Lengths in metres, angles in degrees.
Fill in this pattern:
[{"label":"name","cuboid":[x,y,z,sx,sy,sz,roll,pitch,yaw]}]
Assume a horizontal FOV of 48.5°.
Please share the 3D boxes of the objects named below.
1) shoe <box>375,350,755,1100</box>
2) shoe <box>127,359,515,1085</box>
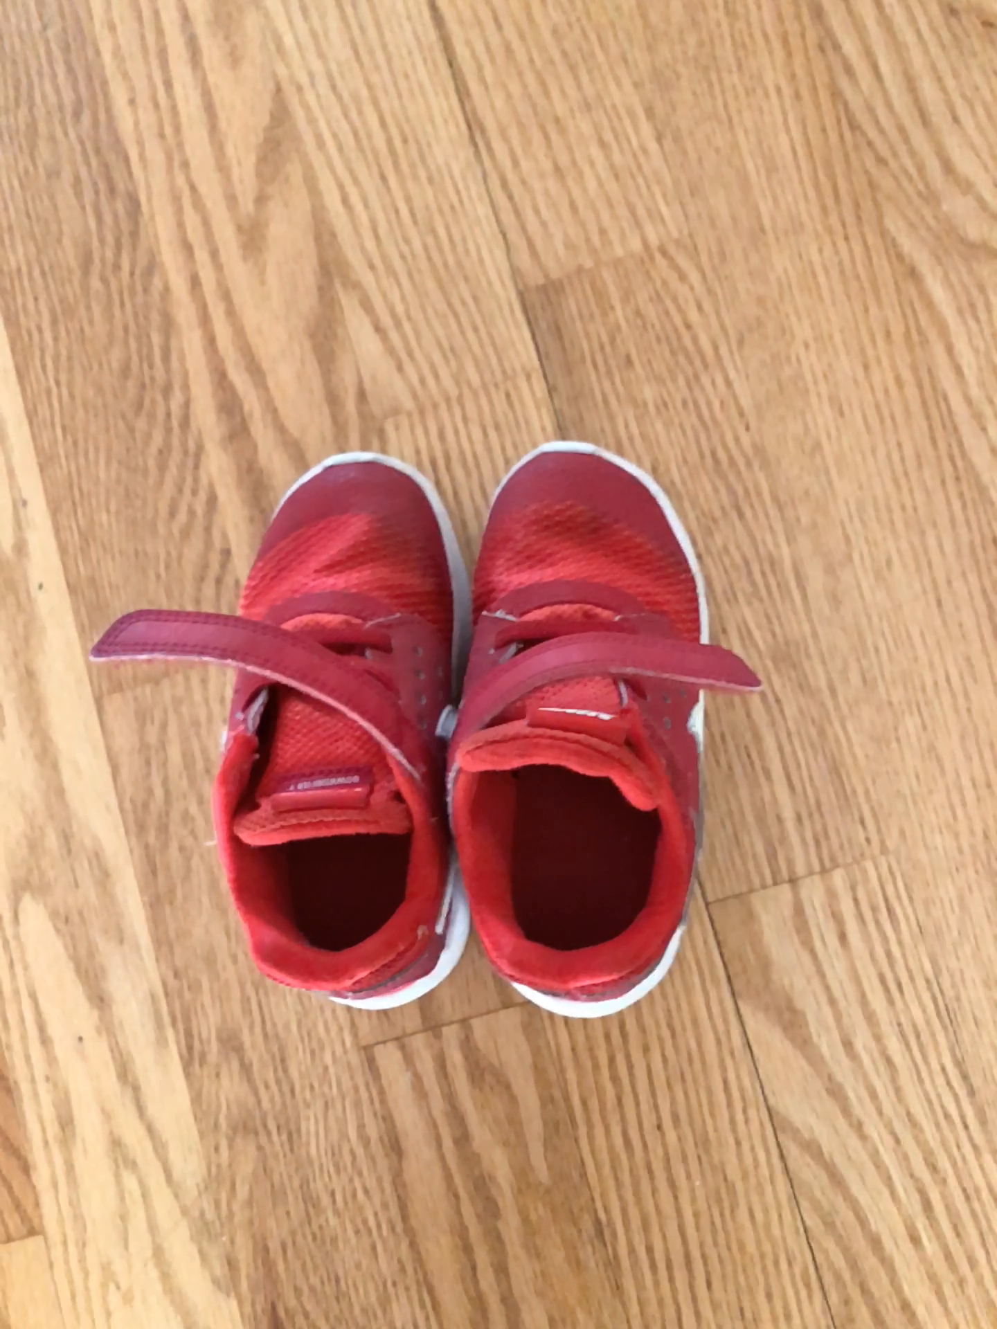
[{"label":"shoe","cuboid":[0.020,0.015,0.301,0.088,0.069,0.177,0,84,7]},{"label":"shoe","cuboid":[-0.047,0.016,0.311,0.080,0.069,0.175,-6,83,7]}]
